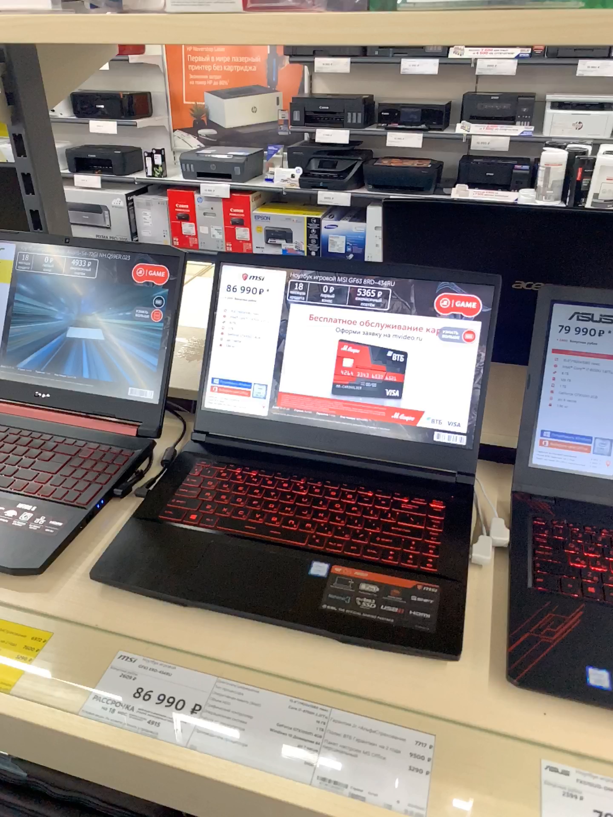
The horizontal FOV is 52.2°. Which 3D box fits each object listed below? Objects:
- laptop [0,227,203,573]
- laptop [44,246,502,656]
[{"bbox_3d":[-0.369,-0.048,0.737,0.334,0.211,0.373,9,32,15],"label":"laptop"},{"bbox_3d":[0.008,0.000,0.664,0.350,0.204,0.372,8,33,13],"label":"laptop"}]
